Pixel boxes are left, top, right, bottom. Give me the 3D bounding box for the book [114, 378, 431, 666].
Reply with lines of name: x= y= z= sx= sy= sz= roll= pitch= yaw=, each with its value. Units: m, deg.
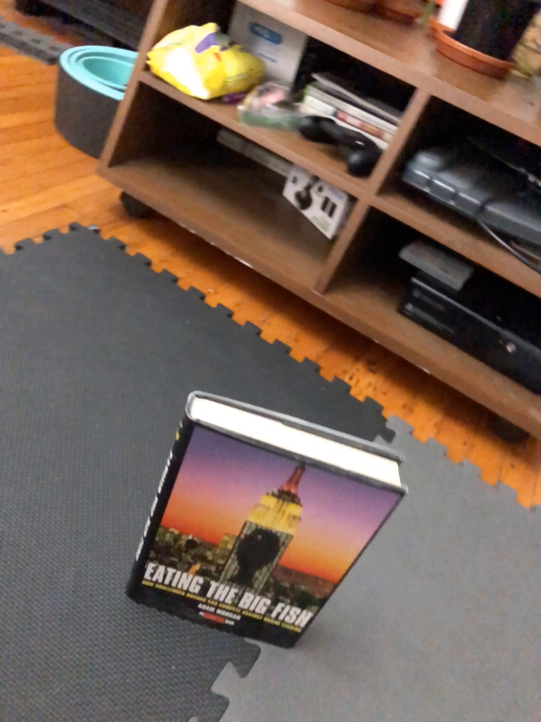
book: x=-0.014 y=0.148 z=0.486 sx=0.180 sy=0.259 sz=0.050 roll=17 pitch=39 yaw=-6
